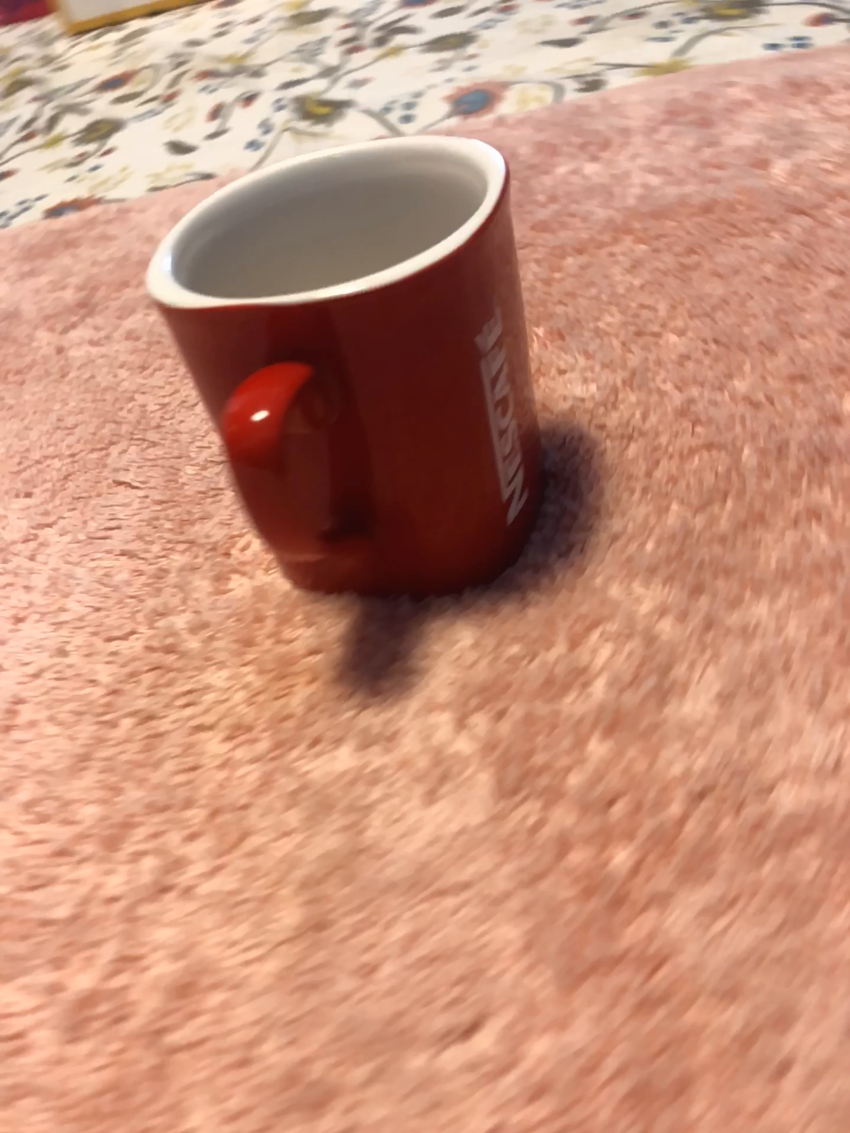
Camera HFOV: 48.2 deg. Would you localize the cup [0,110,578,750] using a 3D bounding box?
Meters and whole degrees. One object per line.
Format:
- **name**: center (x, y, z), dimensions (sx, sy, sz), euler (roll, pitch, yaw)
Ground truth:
- **cup**: center (-0.017, -0.030, 0.186), dimensions (0.070, 0.070, 0.101), euler (3, 46, 20)
